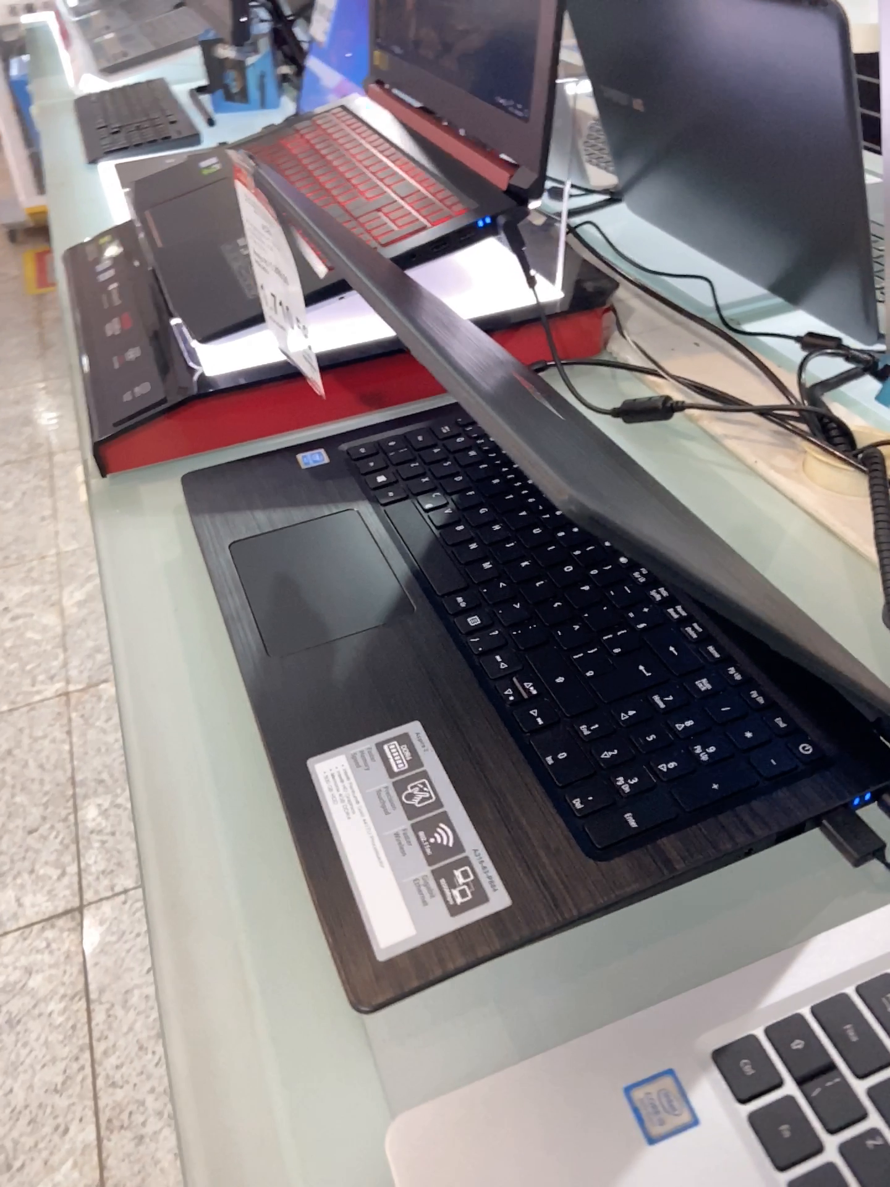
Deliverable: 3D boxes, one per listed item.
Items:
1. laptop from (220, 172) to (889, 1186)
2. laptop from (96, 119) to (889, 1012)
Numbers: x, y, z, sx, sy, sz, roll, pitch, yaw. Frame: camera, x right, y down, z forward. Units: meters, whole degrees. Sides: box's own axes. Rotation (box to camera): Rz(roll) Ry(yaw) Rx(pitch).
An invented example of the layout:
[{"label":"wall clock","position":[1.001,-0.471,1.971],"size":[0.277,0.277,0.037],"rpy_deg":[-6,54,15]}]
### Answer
[{"label":"laptop","position":[0.183,0.141,0.110],"size":[0.313,0.227,0.364],"rpy_deg":[-16,41,-12]},{"label":"laptop","position":[0.000,-0.066,0.425],"size":[0.230,0.169,0.377],"rpy_deg":[-19,42,-13]}]
